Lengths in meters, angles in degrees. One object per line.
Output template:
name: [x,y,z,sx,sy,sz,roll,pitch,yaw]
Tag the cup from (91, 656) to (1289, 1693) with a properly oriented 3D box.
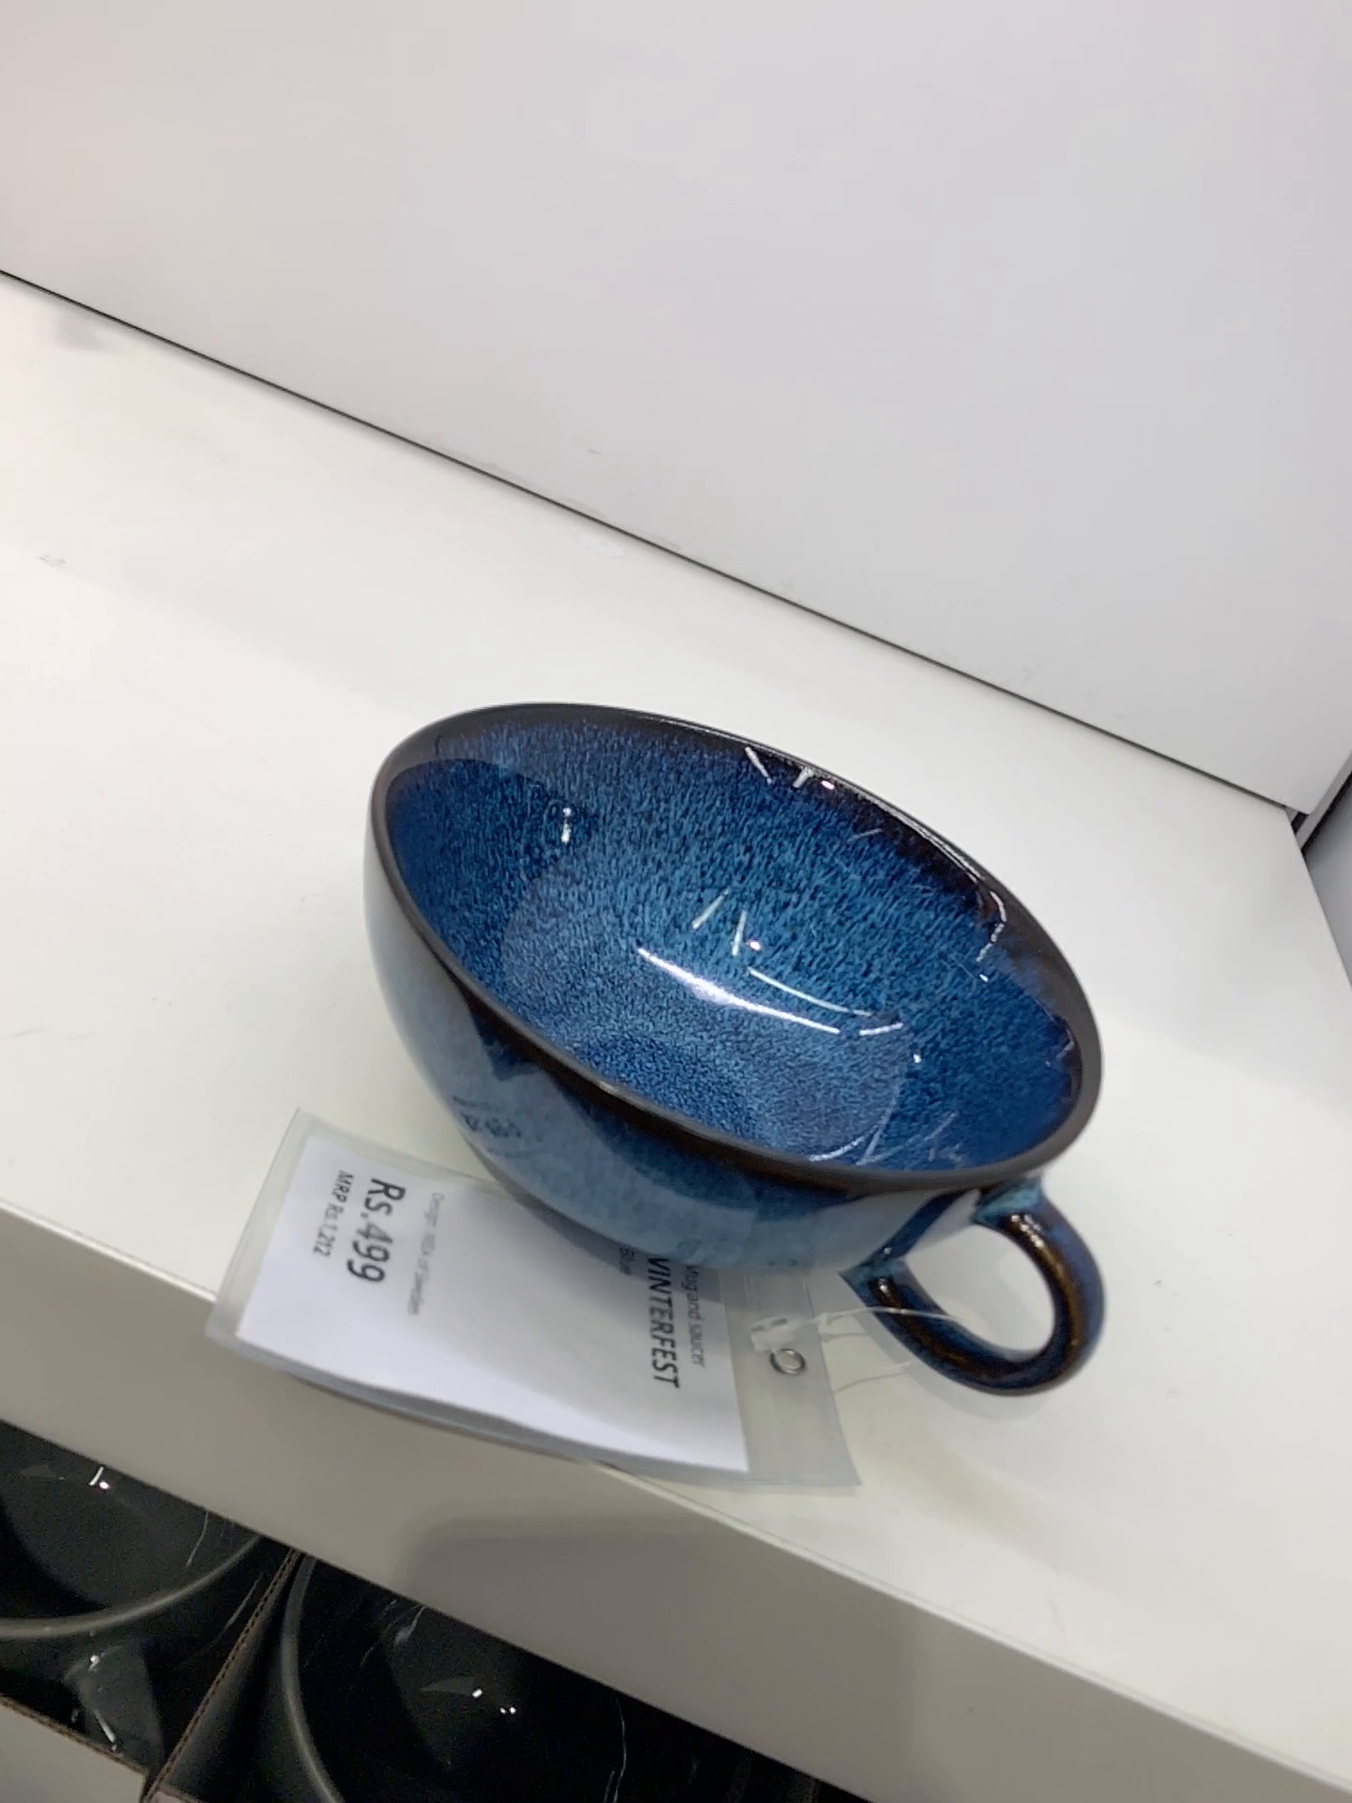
cup: [0.002,0.020,0.245,0.160,0.050,0.130,39,33,27]
